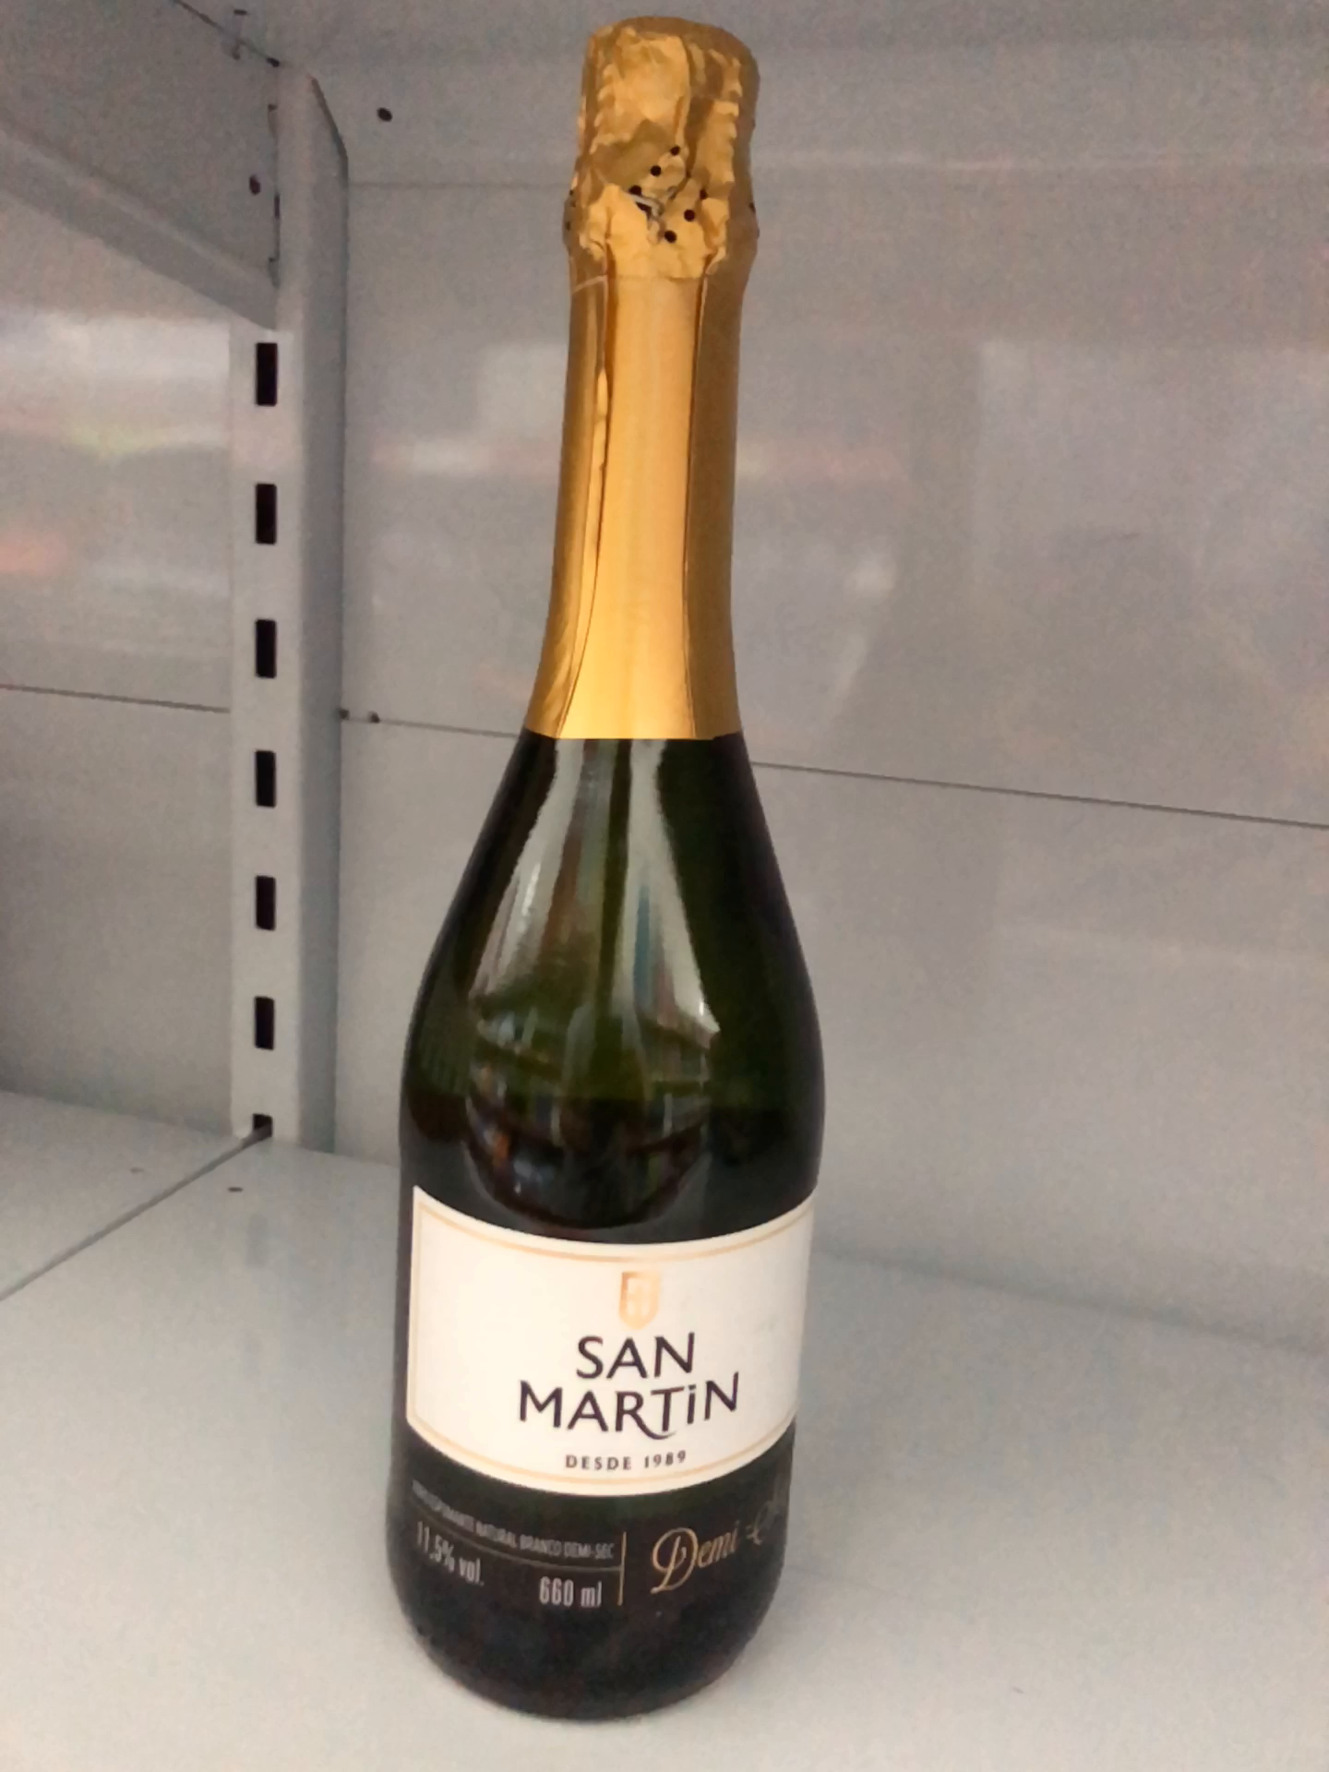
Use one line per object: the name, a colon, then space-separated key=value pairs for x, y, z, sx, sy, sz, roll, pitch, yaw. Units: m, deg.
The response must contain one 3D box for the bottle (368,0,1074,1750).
bottle: x=-0.002 y=-0.008 z=0.269 sx=0.090 sy=0.309 sz=0.080 roll=2 pitch=12 yaw=-8
